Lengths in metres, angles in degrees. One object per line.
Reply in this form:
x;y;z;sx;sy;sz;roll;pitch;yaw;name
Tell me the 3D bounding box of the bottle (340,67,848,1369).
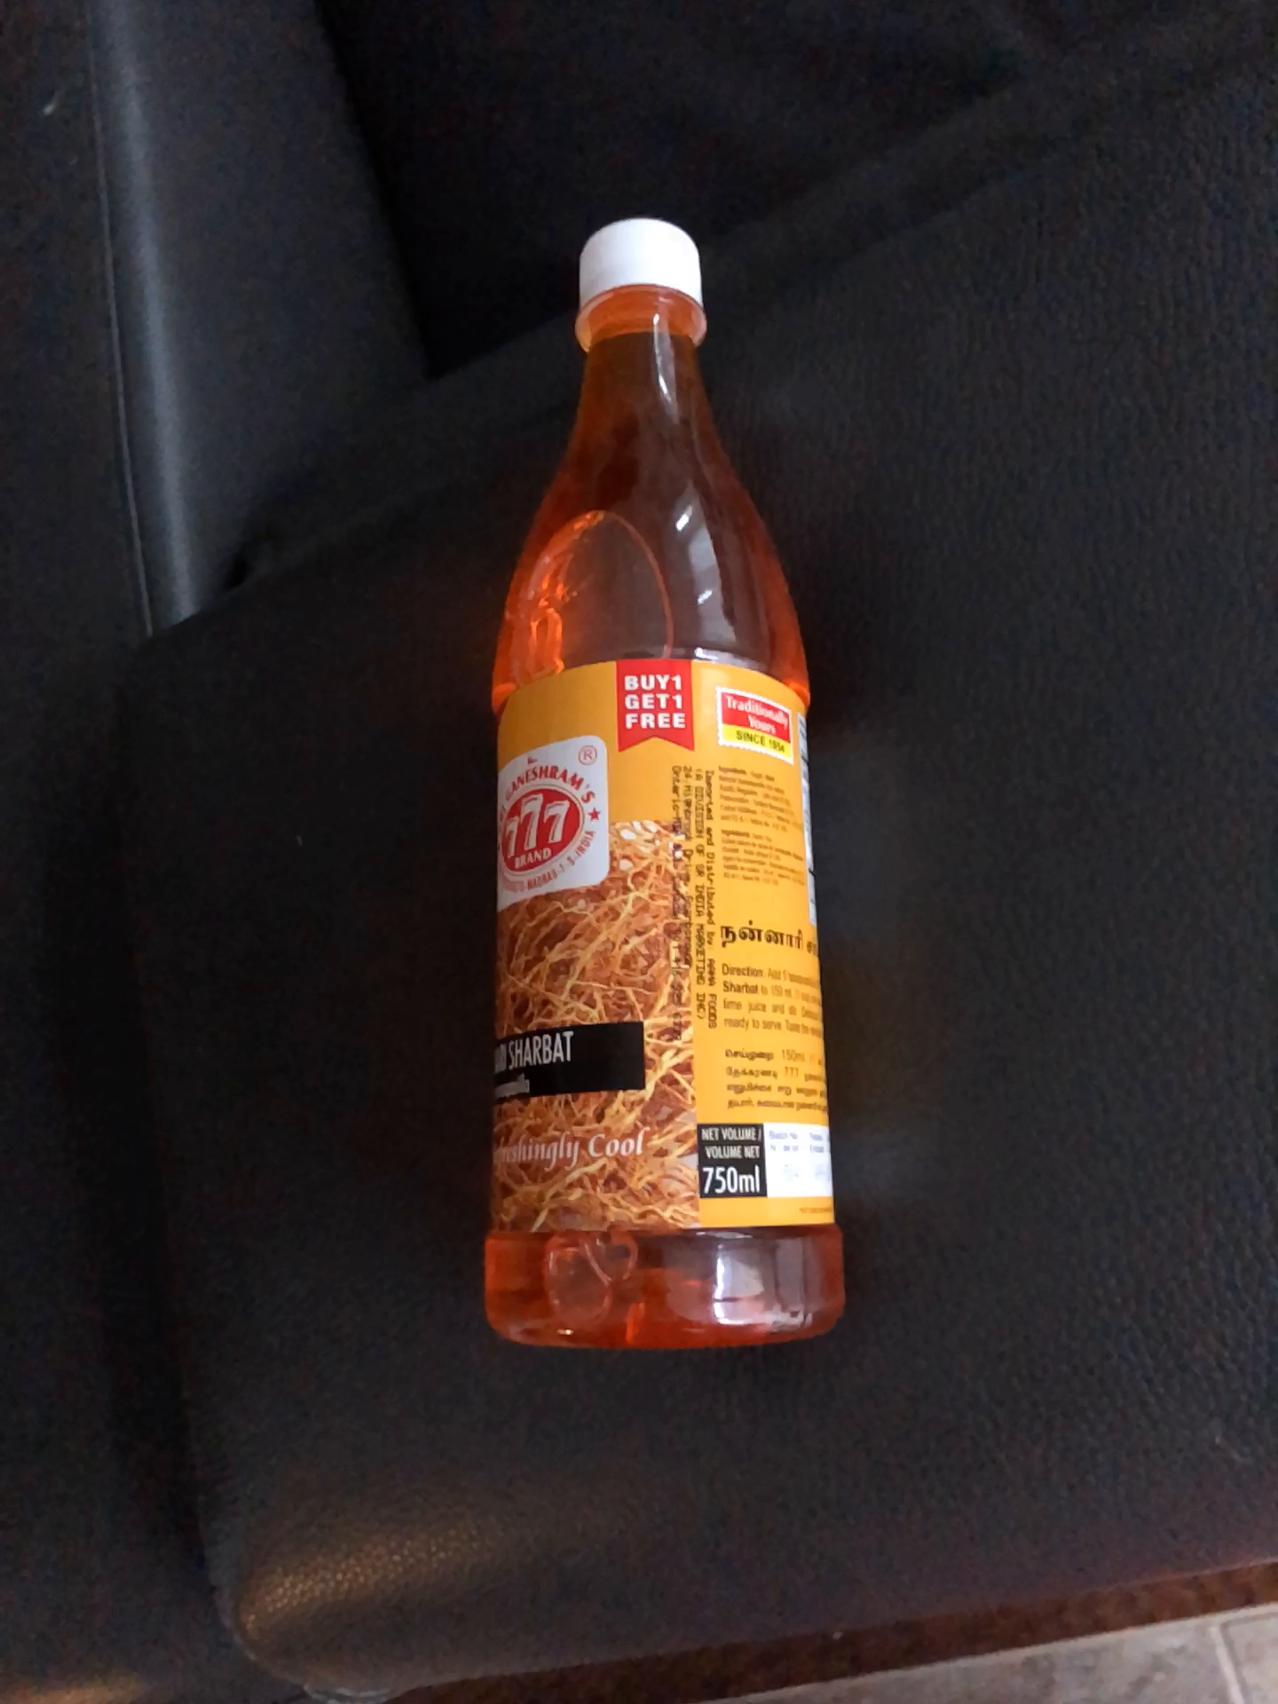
-0.011;-0.030;0.338;0.080;0.070;0.280;-15;69;40;bottle
